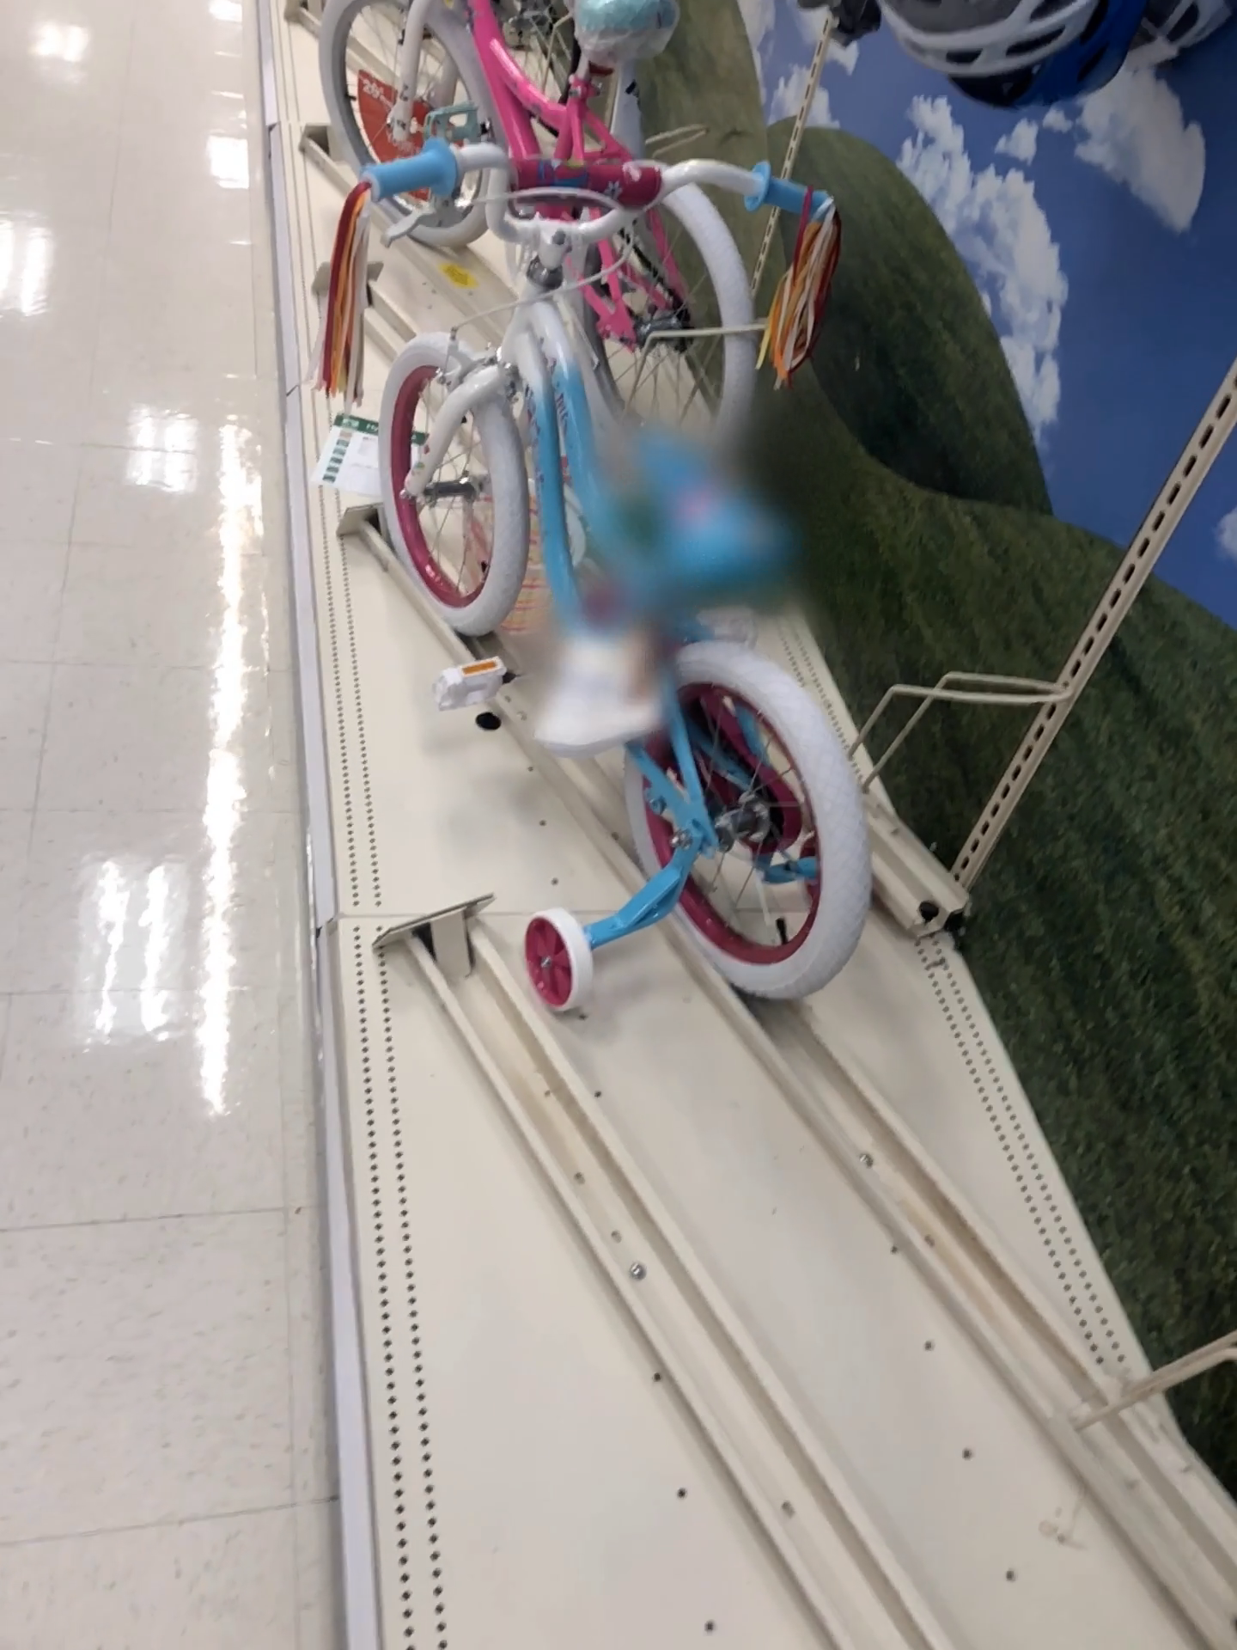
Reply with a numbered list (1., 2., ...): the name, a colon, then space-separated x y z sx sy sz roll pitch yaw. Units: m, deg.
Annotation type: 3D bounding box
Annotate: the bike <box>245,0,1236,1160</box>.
1. bike: 0.018 -0.367 1.582 0.533 0.723 1.094 -16 54 -31
